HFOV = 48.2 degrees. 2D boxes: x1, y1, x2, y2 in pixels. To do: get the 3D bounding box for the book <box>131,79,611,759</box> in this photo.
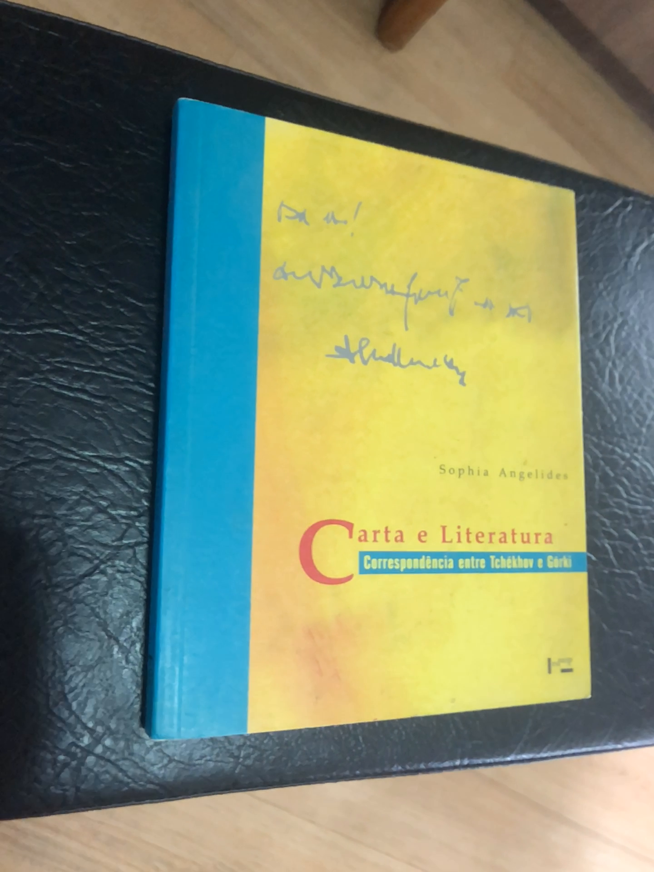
[{"bbox_3d":[0.025,-0.004,0.265,0.173,0.024,0.208,4,83,-22],"label":"book"}]
